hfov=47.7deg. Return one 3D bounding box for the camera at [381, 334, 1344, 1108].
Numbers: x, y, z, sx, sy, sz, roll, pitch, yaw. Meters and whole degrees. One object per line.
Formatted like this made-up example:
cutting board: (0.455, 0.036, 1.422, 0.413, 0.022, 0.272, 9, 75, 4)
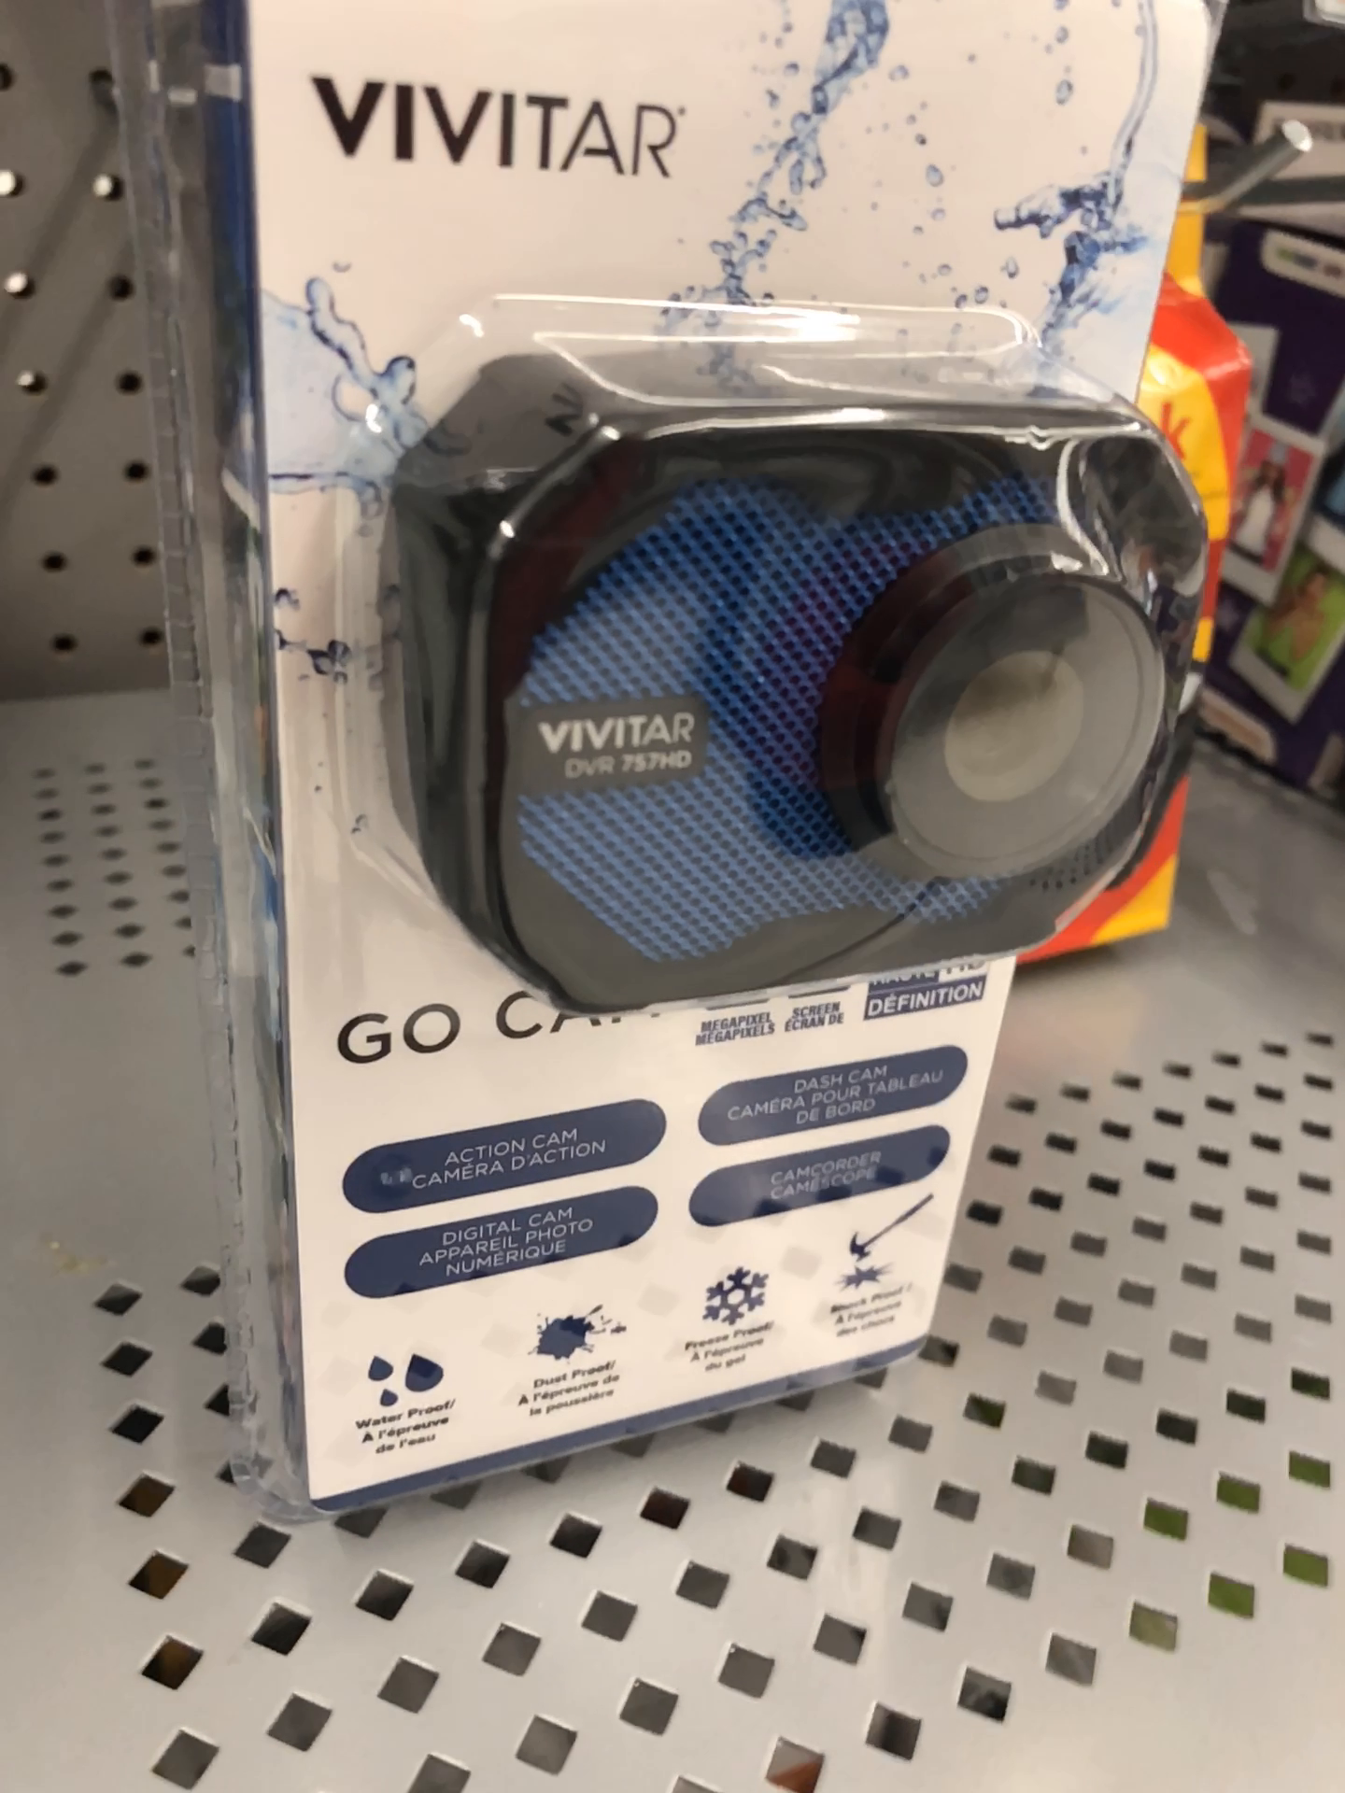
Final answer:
camera: (0.014, -0.019, 0.133, 0.070, 0.050, 0.040, -8, 30, -21)
